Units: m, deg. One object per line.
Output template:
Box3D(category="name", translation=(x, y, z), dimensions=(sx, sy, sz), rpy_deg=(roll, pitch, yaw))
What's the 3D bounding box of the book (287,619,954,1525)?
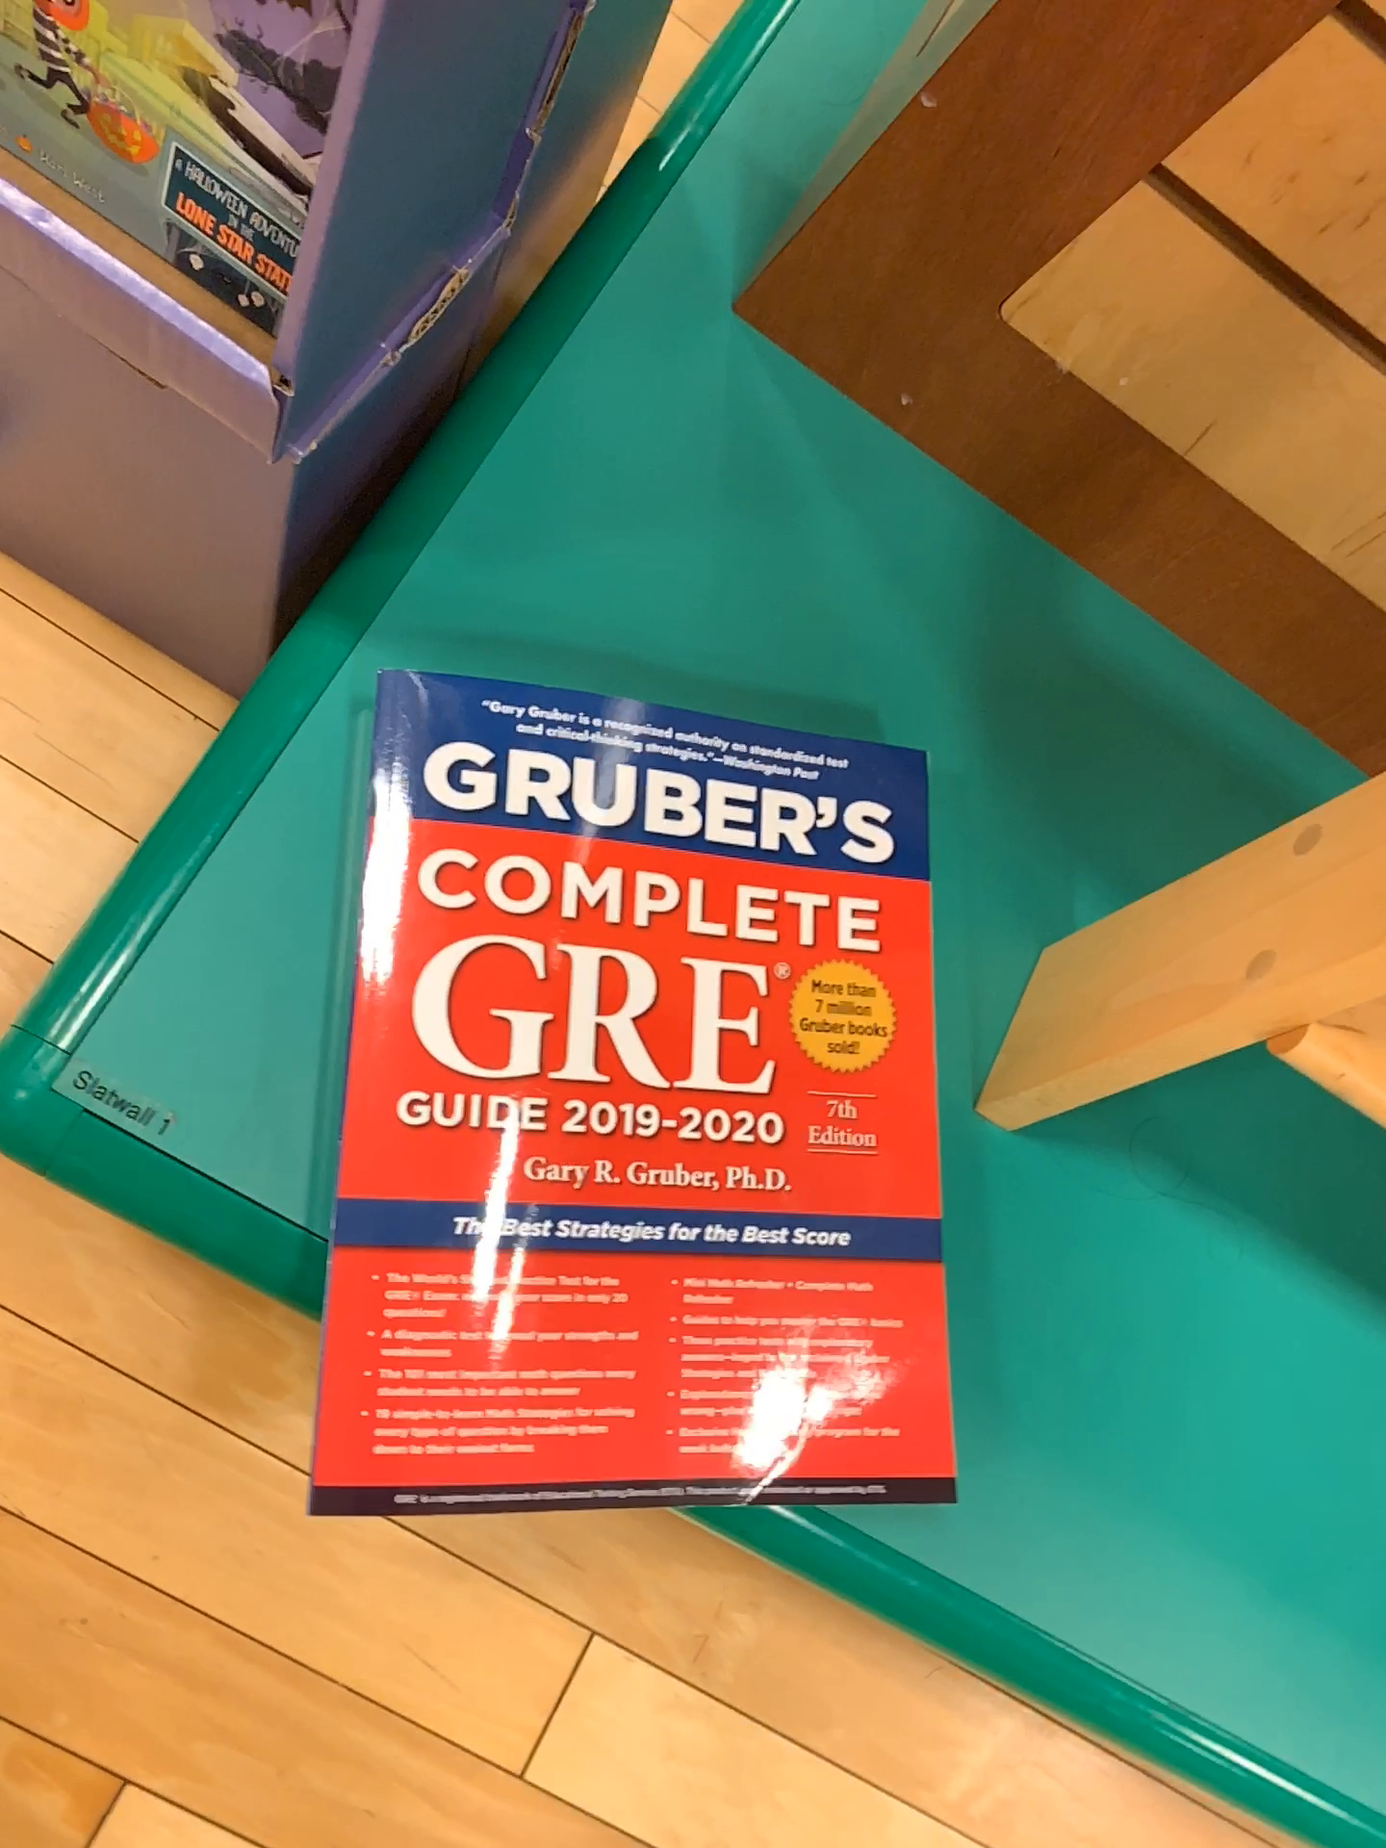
Box3D(category="book", translation=(-0.016, 0.052, 0.507), dimensions=(0.220, 0.040, 0.290), rpy_deg=(6, 77, -18))
